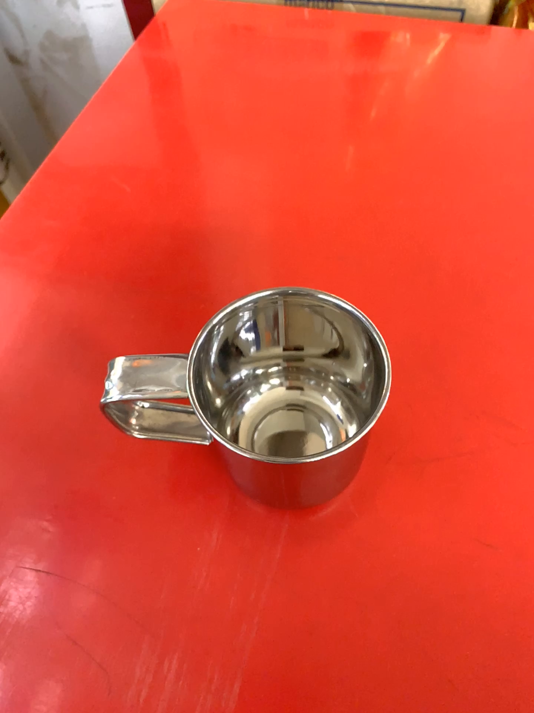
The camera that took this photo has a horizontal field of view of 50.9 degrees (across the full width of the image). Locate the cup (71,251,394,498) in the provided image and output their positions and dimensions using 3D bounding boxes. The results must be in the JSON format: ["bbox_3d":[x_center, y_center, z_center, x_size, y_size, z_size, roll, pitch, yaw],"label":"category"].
[{"bbox_3d":[-0.009,0.009,0.240,0.110,0.070,0.080,1,60,4],"label":"cup"}]
